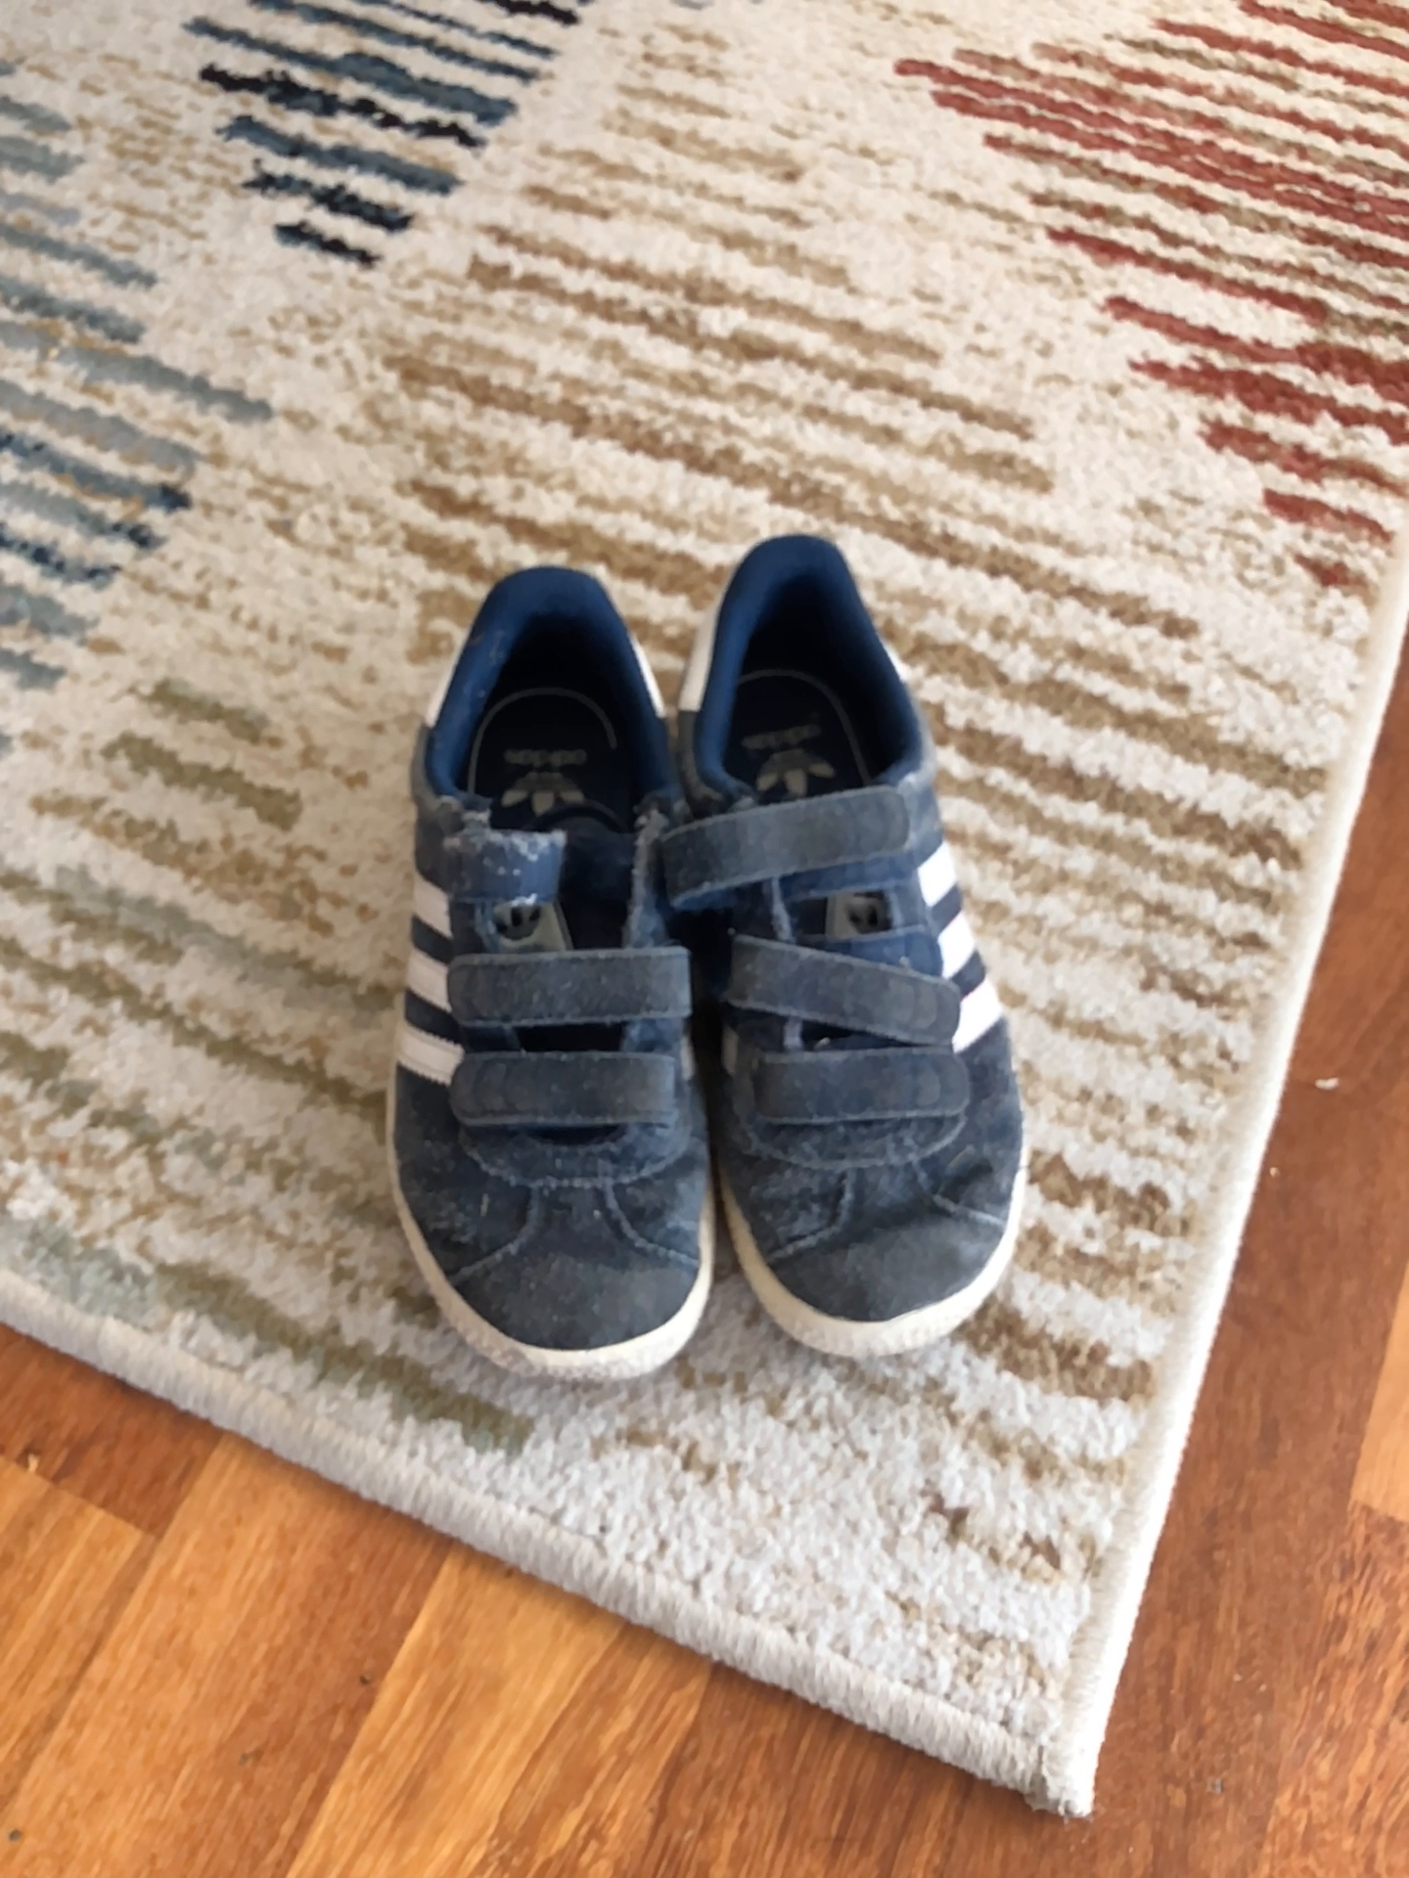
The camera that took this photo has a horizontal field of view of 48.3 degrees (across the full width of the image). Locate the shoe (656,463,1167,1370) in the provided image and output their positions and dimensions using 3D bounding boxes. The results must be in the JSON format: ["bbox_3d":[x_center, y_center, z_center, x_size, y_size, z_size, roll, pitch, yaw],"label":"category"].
[{"bbox_3d":[0.039,-0.014,0.385,0.086,0.052,0.219,-4,63,-4],"label":"shoe"}]

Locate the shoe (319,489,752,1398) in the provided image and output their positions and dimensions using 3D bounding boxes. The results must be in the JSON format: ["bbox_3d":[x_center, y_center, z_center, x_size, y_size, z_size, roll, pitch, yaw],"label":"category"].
[{"bbox_3d":[-0.040,-0.007,0.380,0.084,0.053,0.217,-3,62,-3],"label":"shoe"}]
